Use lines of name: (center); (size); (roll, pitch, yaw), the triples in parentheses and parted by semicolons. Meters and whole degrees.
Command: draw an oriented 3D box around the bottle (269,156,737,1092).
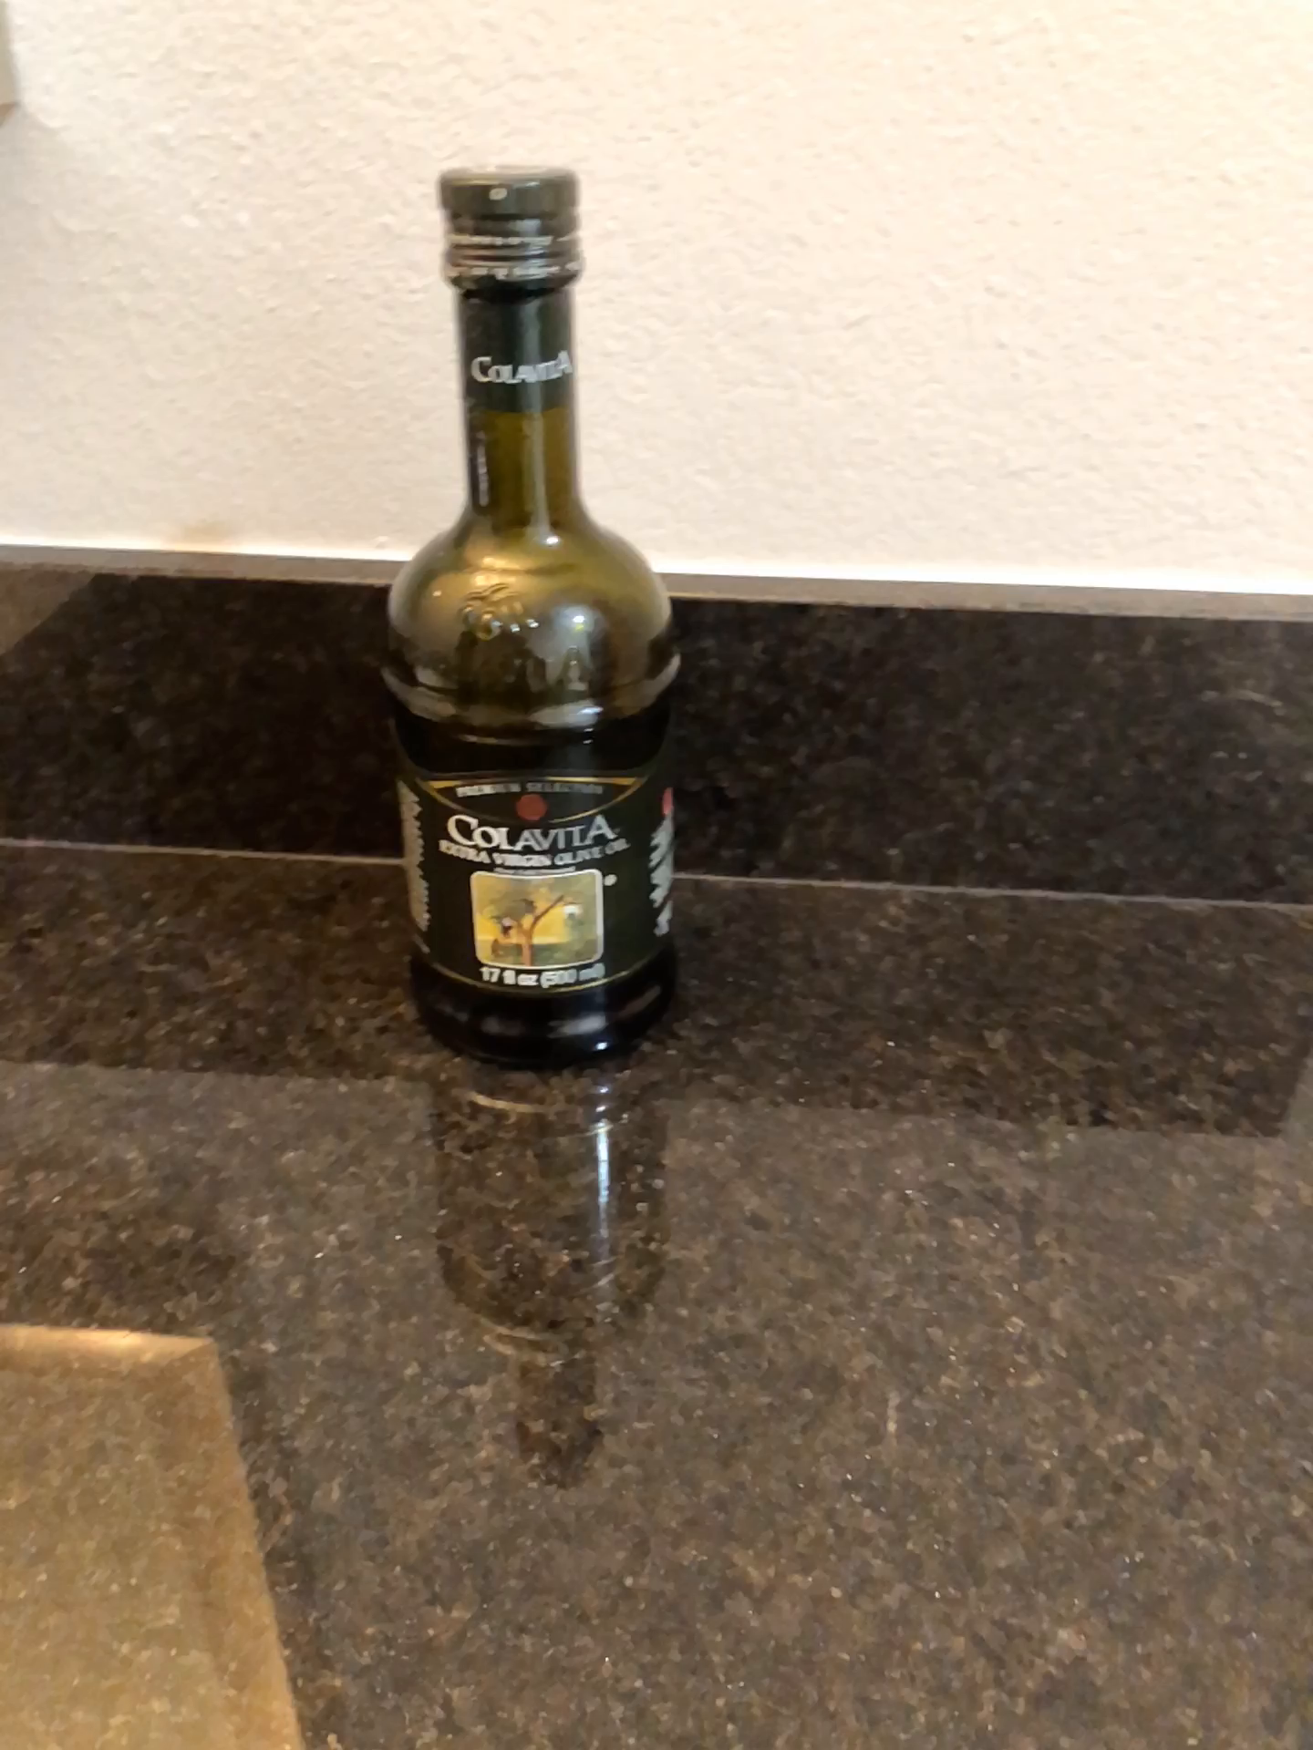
bottle: (-0.030, -0.059, 0.377); (0.090, 0.219, 0.090); (1, 32, 0)
